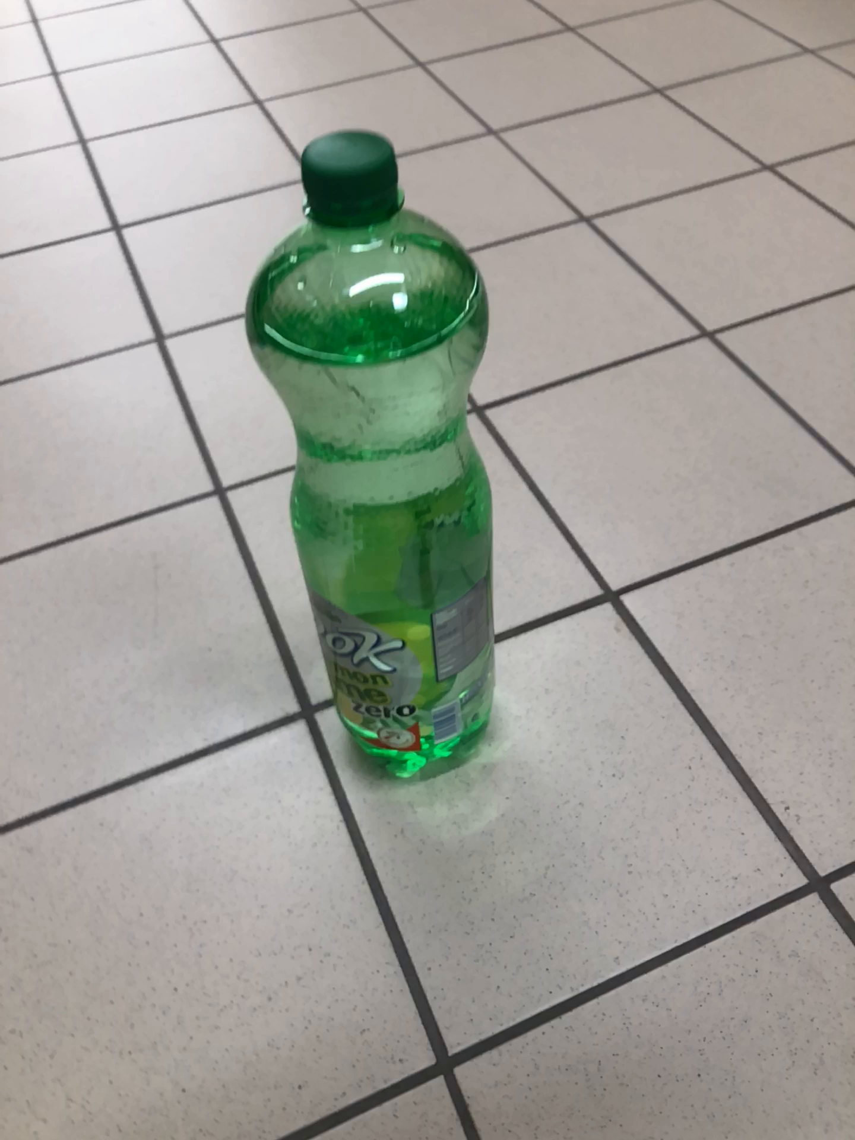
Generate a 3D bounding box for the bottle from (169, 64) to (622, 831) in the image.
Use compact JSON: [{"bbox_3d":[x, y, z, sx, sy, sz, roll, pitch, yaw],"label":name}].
[{"bbox_3d":[-0.002,-0.024,0.414,0.100,0.318,0.100,-2,49,2],"label":"bottle"}]
